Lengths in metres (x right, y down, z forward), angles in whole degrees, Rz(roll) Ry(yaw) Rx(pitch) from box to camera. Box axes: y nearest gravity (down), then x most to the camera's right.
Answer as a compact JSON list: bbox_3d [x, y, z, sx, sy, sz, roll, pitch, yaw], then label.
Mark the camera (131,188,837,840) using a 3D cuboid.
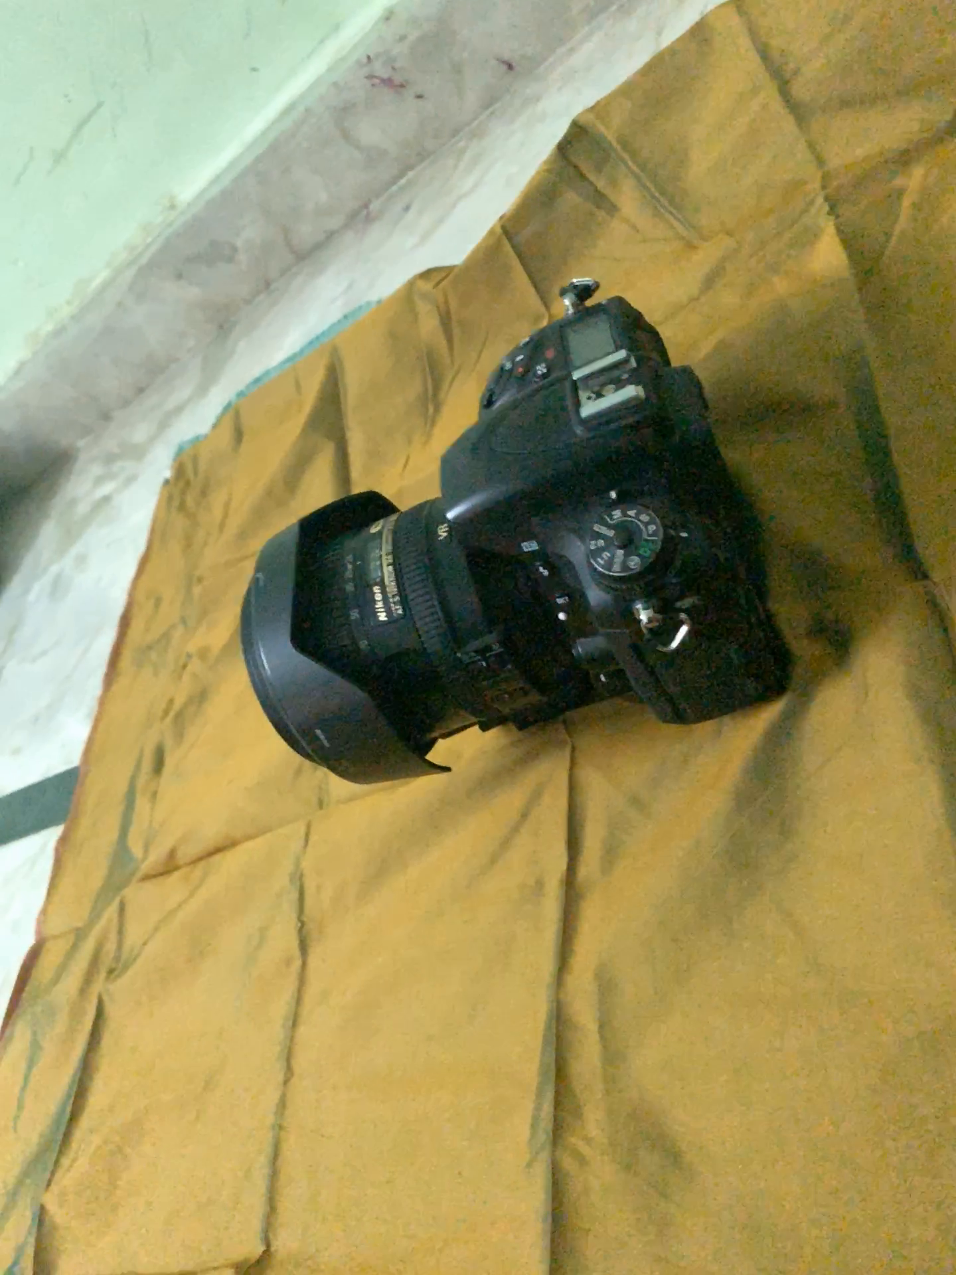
[{"bbox_3d":[0.000,-0.032,0.343,0.193,0.100,0.140,-18,51,23],"label":"camera"}]
